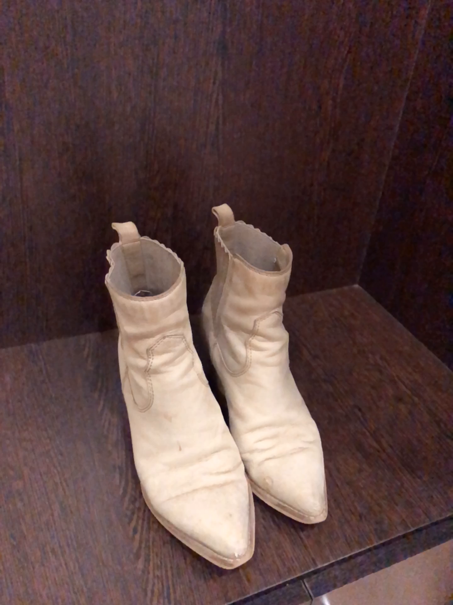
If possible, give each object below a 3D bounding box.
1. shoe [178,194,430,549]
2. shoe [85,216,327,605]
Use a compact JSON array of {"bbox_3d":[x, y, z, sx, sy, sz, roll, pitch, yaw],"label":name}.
[{"bbox_3d":[0.036,0.037,0.464,0.100,0.169,0.281,-7,36,-16],"label":"shoe"},{"bbox_3d":[-0.039,0.066,0.432,0.100,0.169,0.271,-11,37,-19],"label":"shoe"}]
